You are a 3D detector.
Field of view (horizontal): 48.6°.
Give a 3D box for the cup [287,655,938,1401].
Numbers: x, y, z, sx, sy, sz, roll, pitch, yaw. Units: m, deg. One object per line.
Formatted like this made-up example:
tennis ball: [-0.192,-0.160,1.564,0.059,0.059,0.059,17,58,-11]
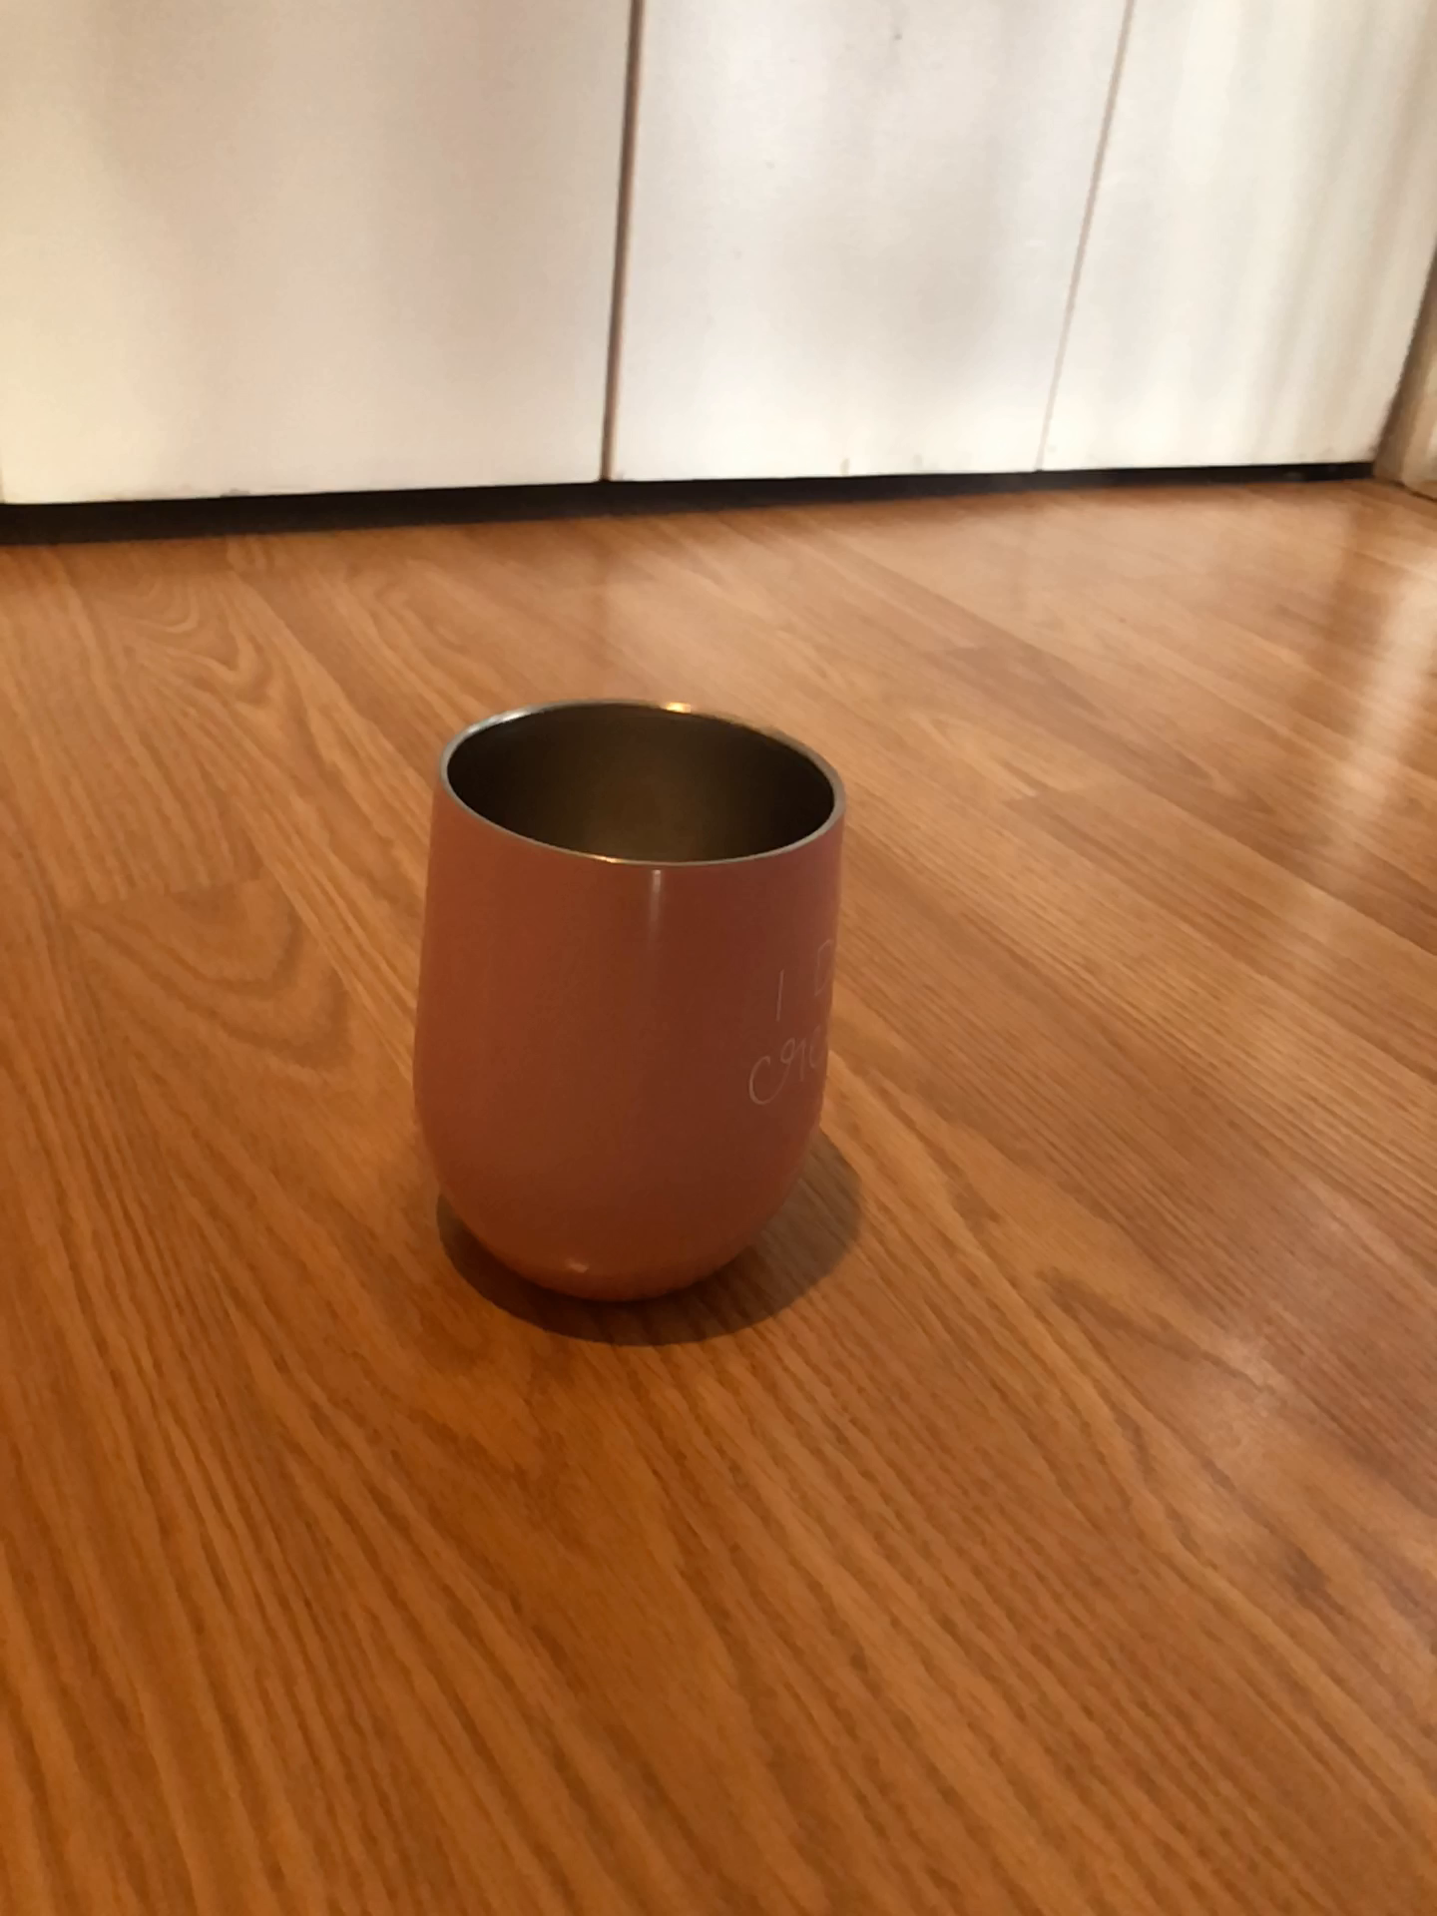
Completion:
cup: [-0.021,0.008,0.324,0.090,0.100,0.090,5,29,-3]
